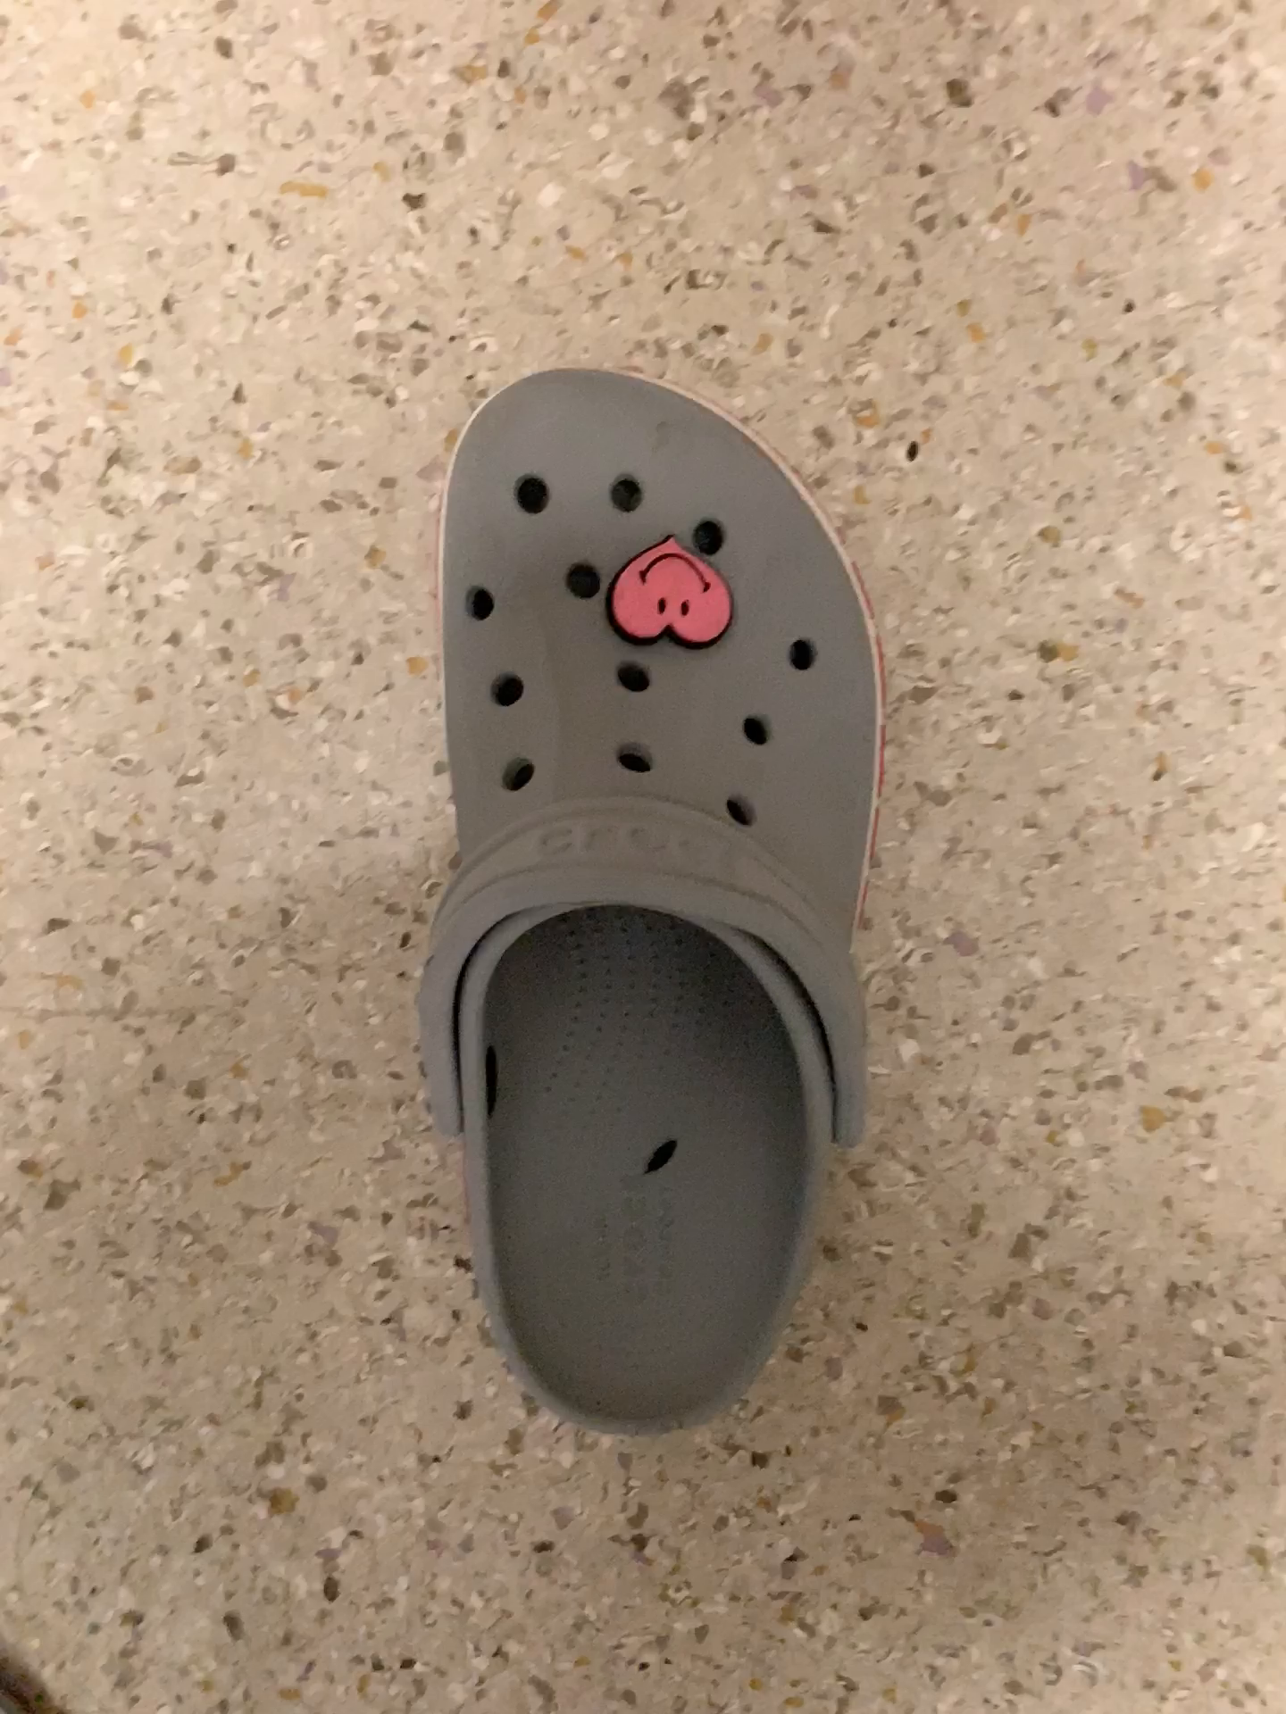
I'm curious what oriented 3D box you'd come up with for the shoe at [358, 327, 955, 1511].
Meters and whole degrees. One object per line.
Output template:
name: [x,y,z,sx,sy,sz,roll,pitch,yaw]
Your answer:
shoe: [0.003,0.012,0.300,0.109,0.091,0.226,-2,91,0]
